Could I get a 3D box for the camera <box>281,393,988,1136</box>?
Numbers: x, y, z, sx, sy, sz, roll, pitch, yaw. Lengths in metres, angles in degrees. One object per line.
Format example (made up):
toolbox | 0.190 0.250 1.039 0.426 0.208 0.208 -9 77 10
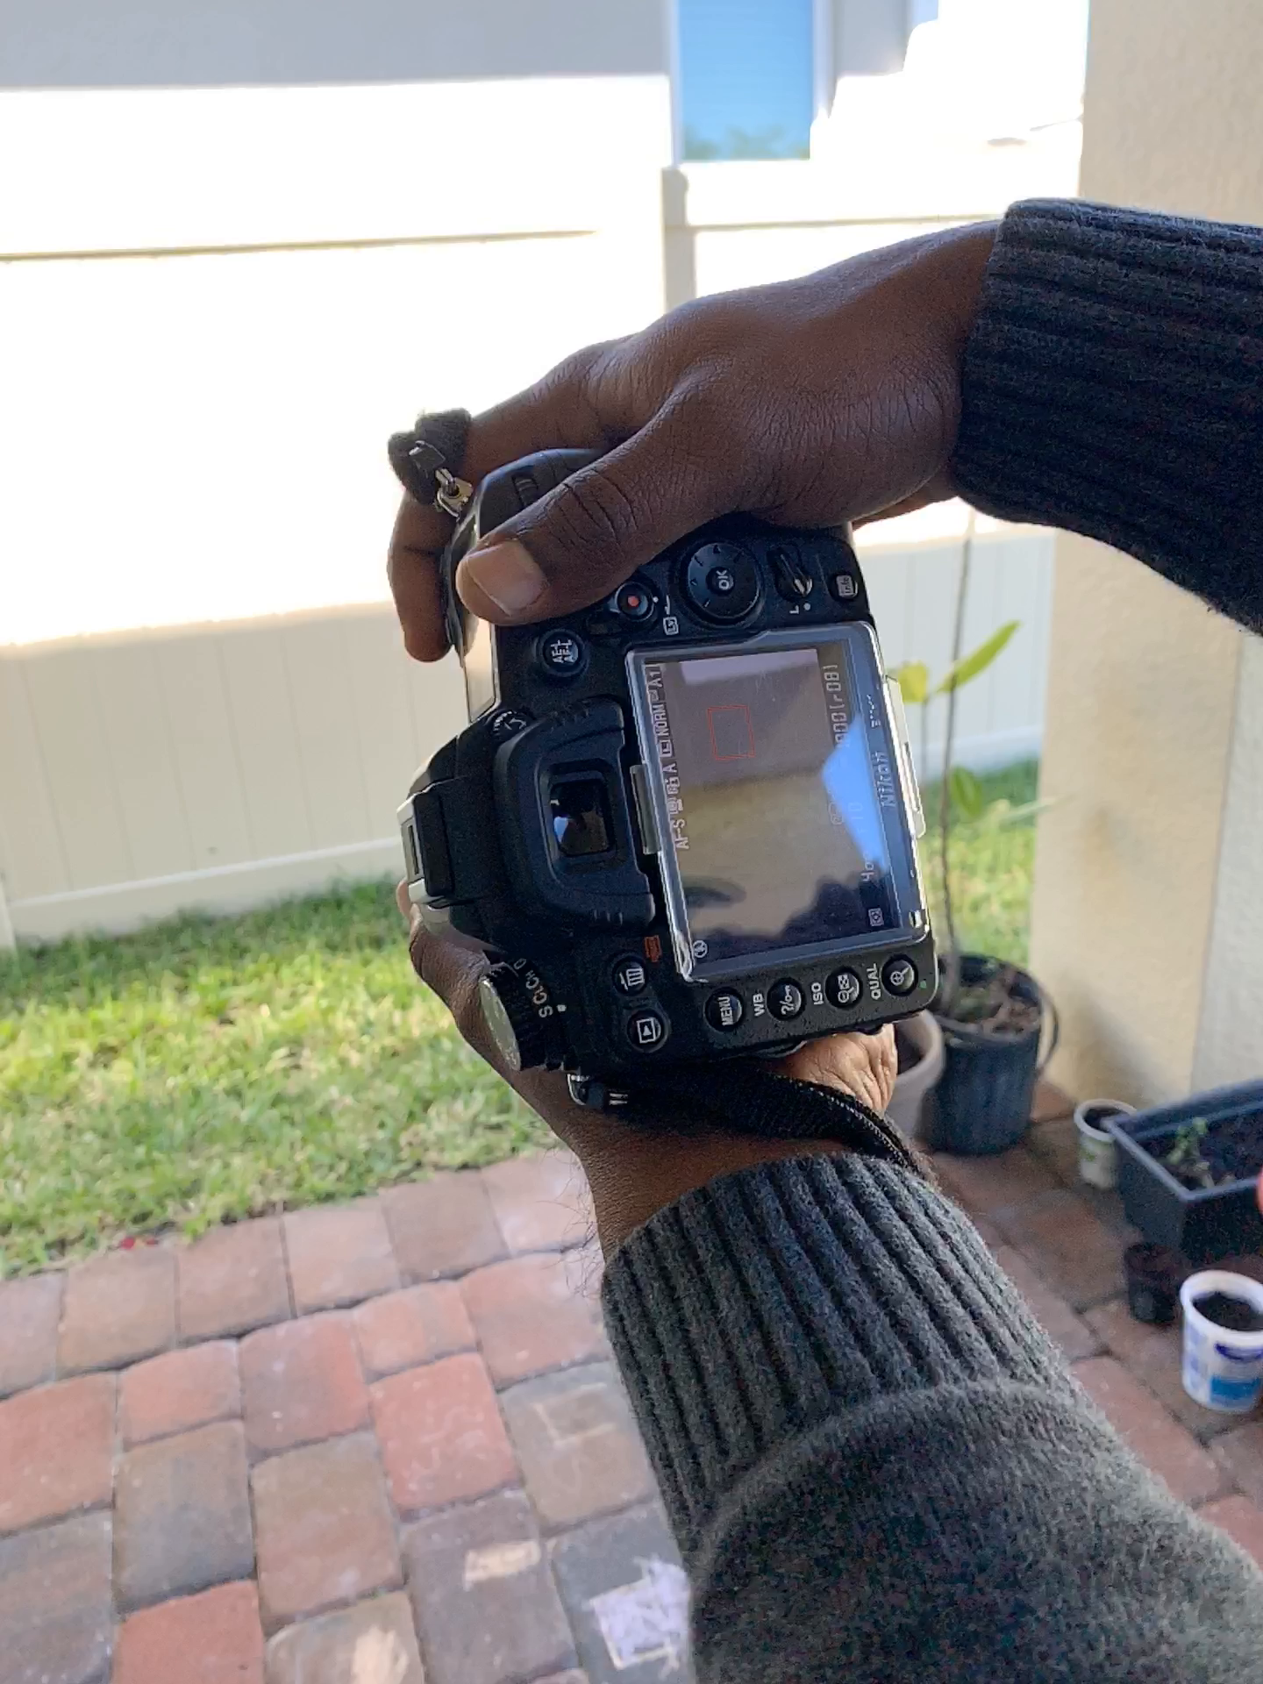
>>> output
camera | -0.017 -0.014 0.297 0.090 0.110 0.170 -11 1 -19
